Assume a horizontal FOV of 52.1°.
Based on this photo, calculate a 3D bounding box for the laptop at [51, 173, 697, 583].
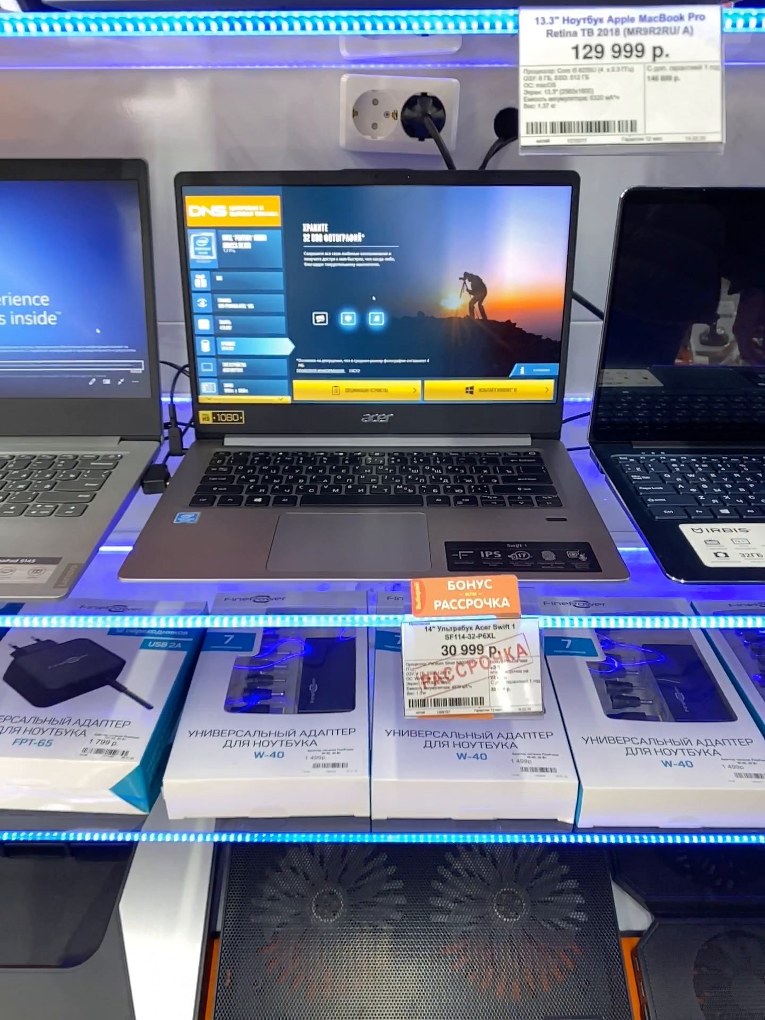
[{"bbox_3d":[-0.003,-0.109,0.547,0.318,0.206,0.258,0,28,0],"label":"laptop"}]
